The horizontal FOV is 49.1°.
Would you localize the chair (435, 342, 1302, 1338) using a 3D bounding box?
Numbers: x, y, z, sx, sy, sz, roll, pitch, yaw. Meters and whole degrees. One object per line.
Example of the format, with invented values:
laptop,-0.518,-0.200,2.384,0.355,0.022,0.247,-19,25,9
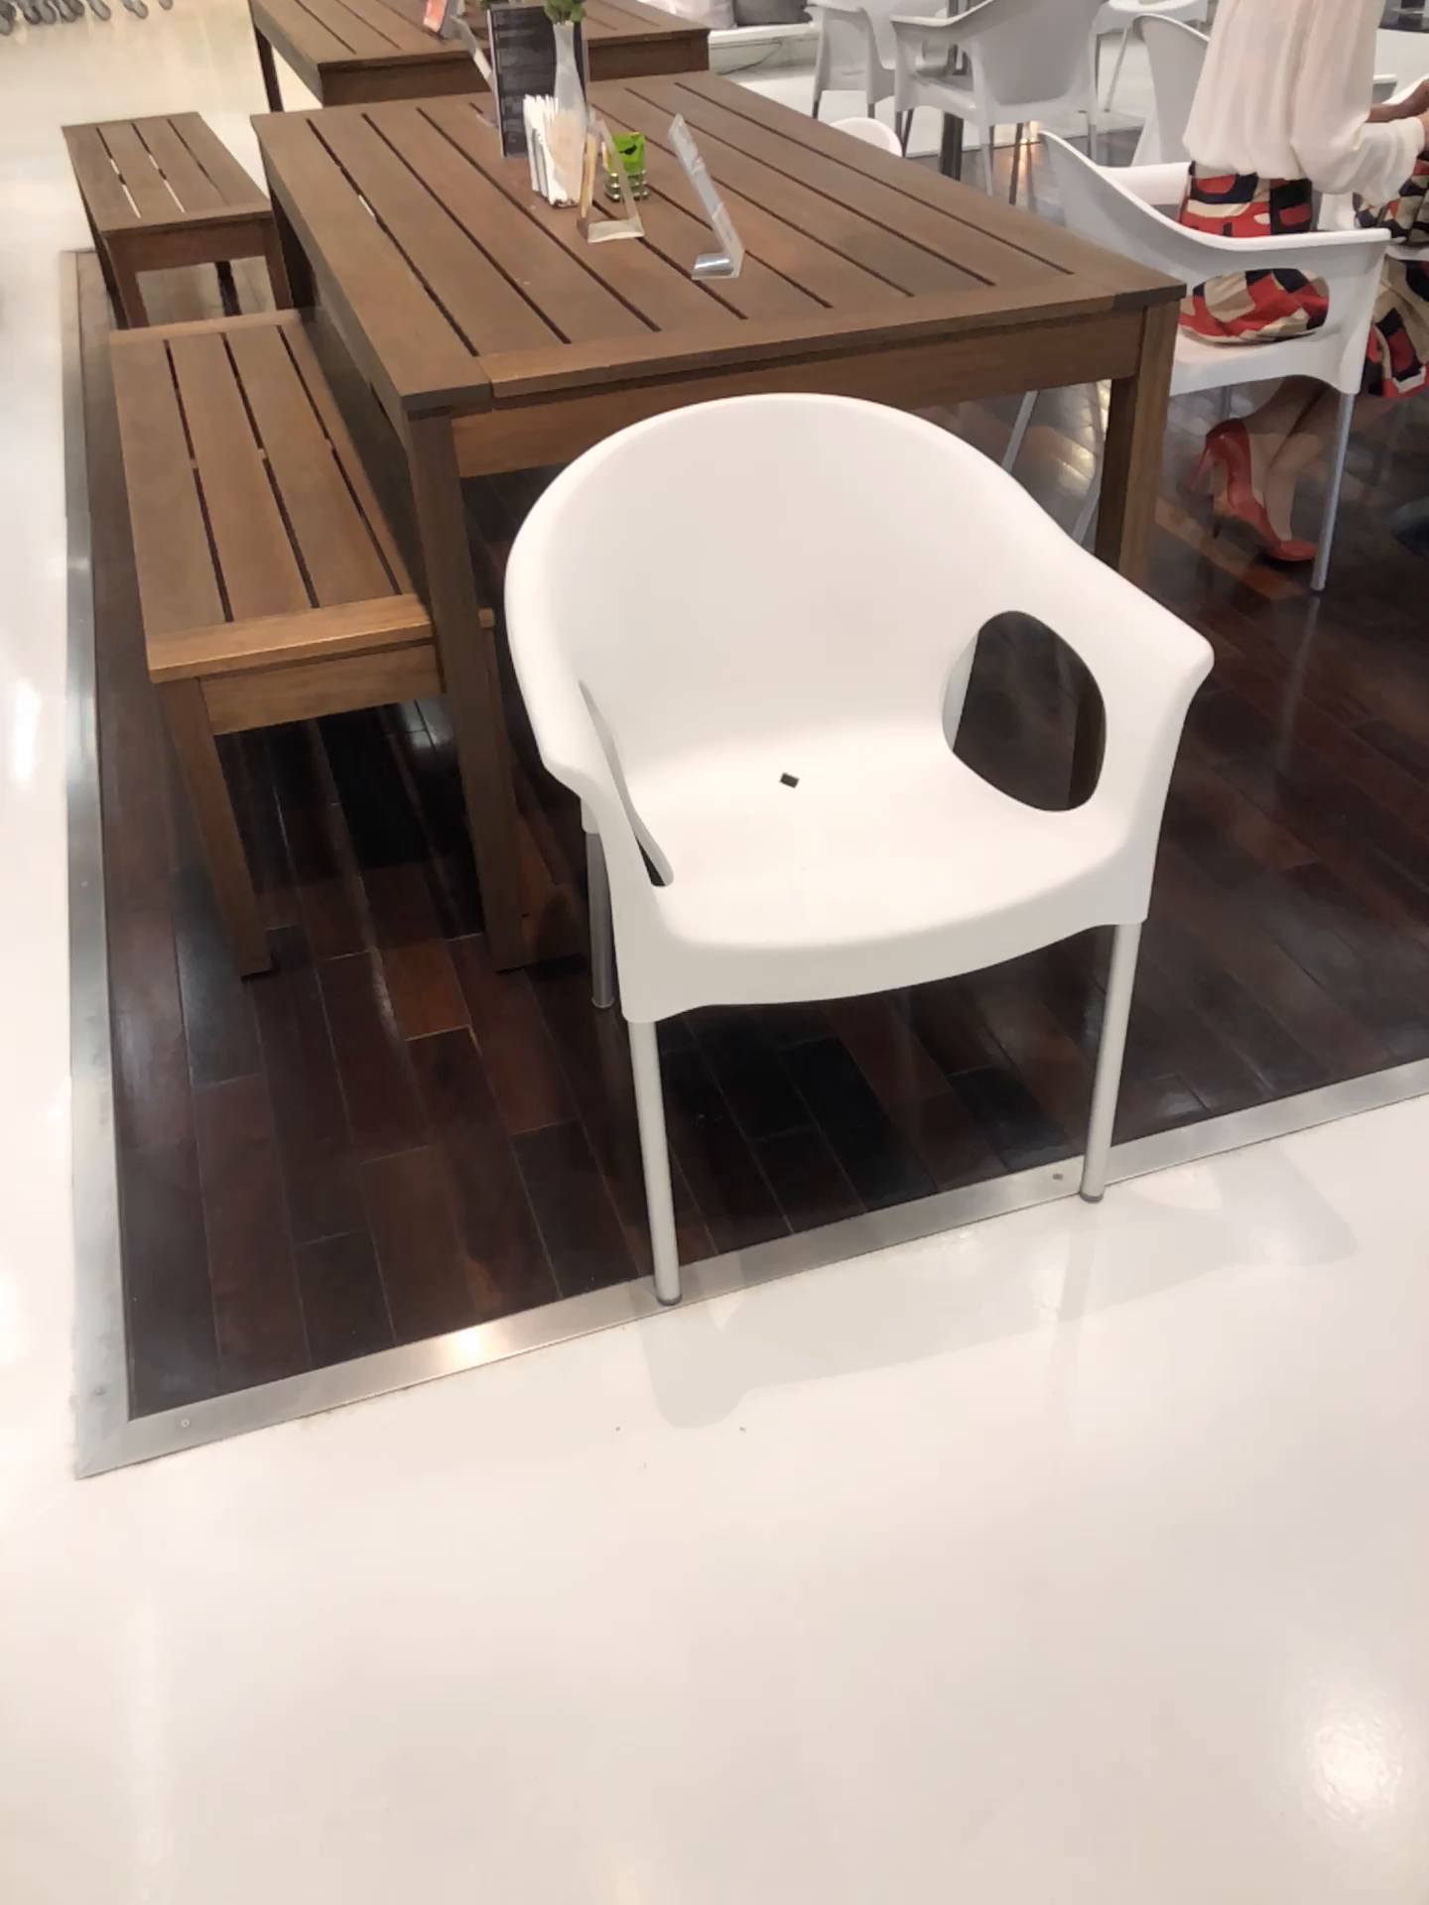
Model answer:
chair,0.106,-0.134,1.562,0.580,0.705,0.564,-13,38,-12
